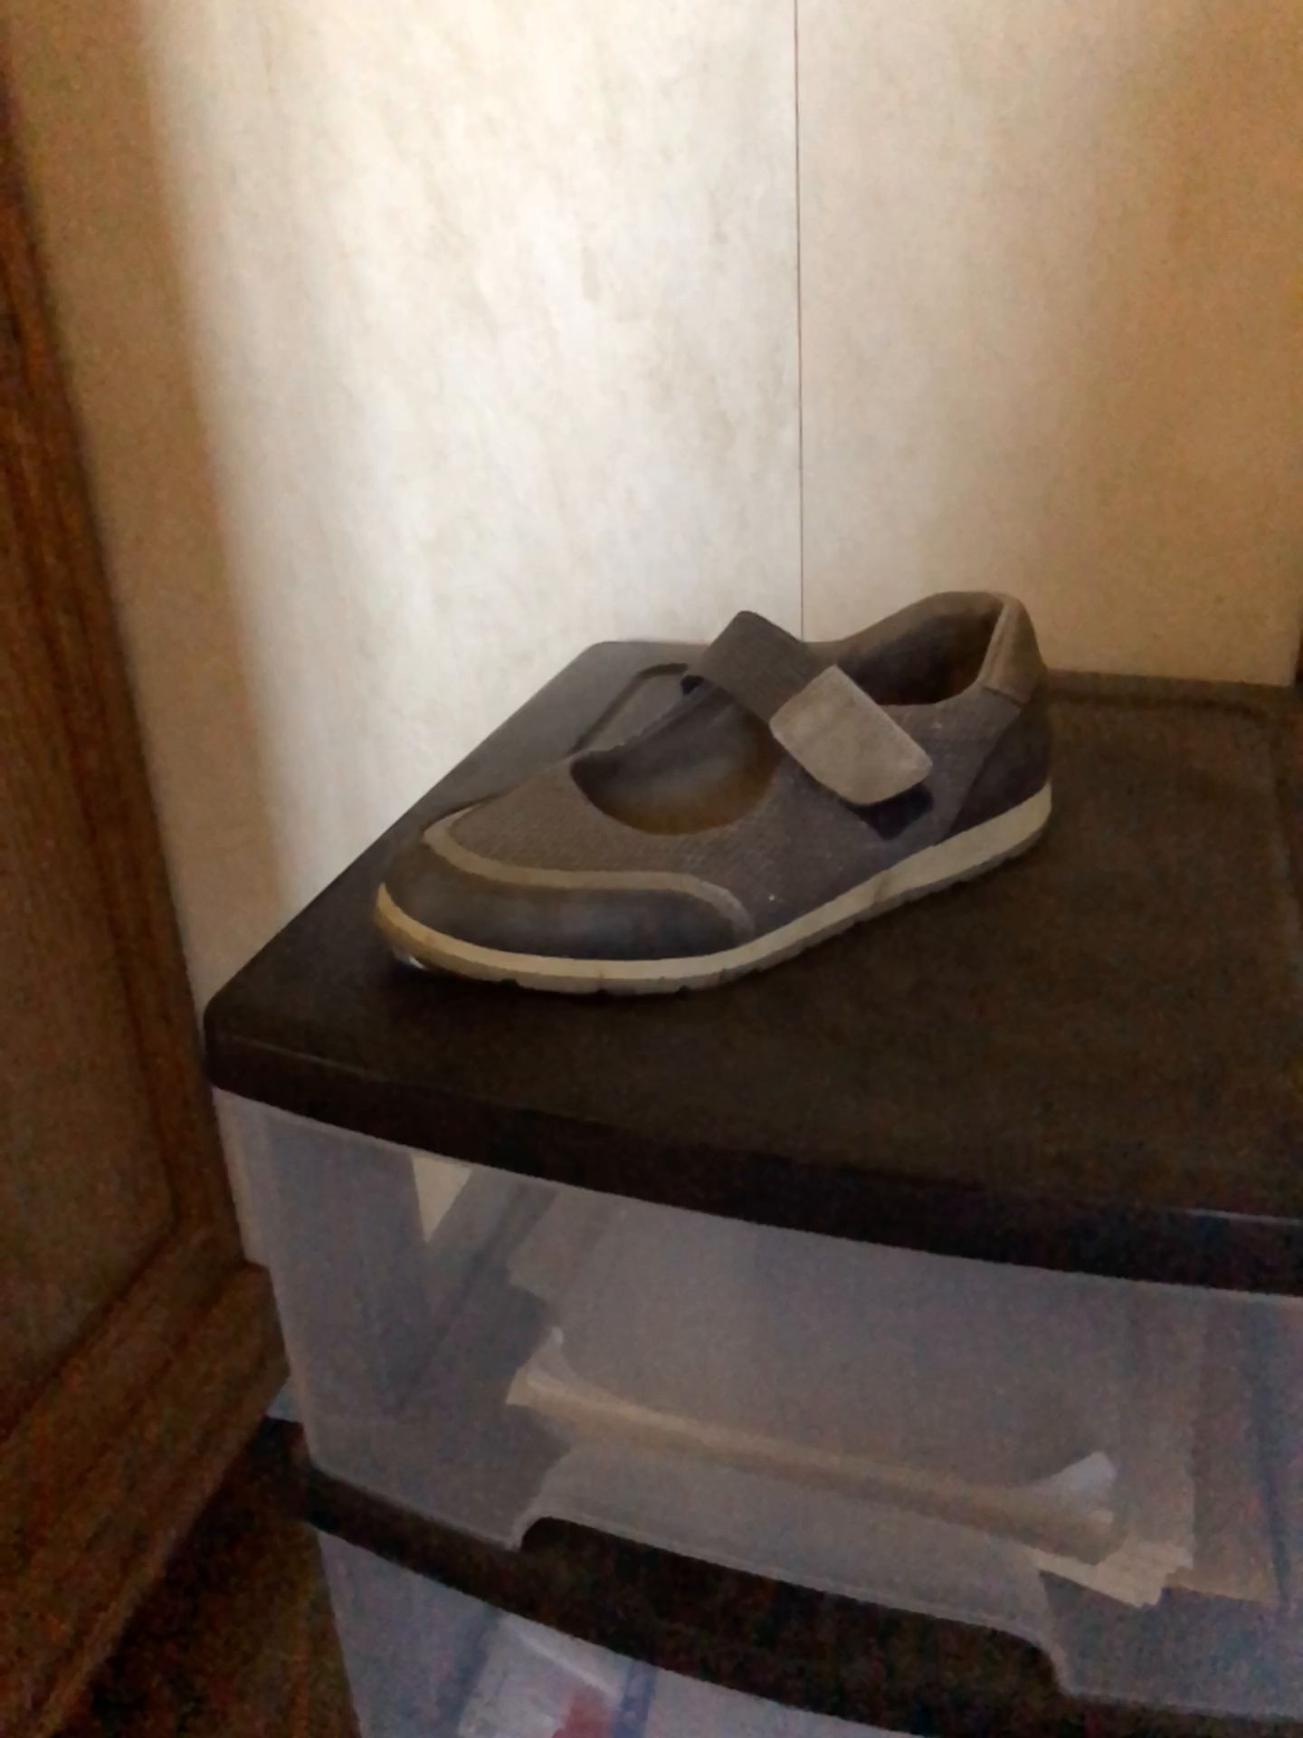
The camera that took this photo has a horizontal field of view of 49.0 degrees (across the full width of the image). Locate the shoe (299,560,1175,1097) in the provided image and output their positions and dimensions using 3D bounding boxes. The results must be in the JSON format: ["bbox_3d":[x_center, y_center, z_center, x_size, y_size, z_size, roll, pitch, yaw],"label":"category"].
[{"bbox_3d":[0.033,-0.029,0.471,0.261,0.080,0.110,-17,30,-26],"label":"shoe"}]
